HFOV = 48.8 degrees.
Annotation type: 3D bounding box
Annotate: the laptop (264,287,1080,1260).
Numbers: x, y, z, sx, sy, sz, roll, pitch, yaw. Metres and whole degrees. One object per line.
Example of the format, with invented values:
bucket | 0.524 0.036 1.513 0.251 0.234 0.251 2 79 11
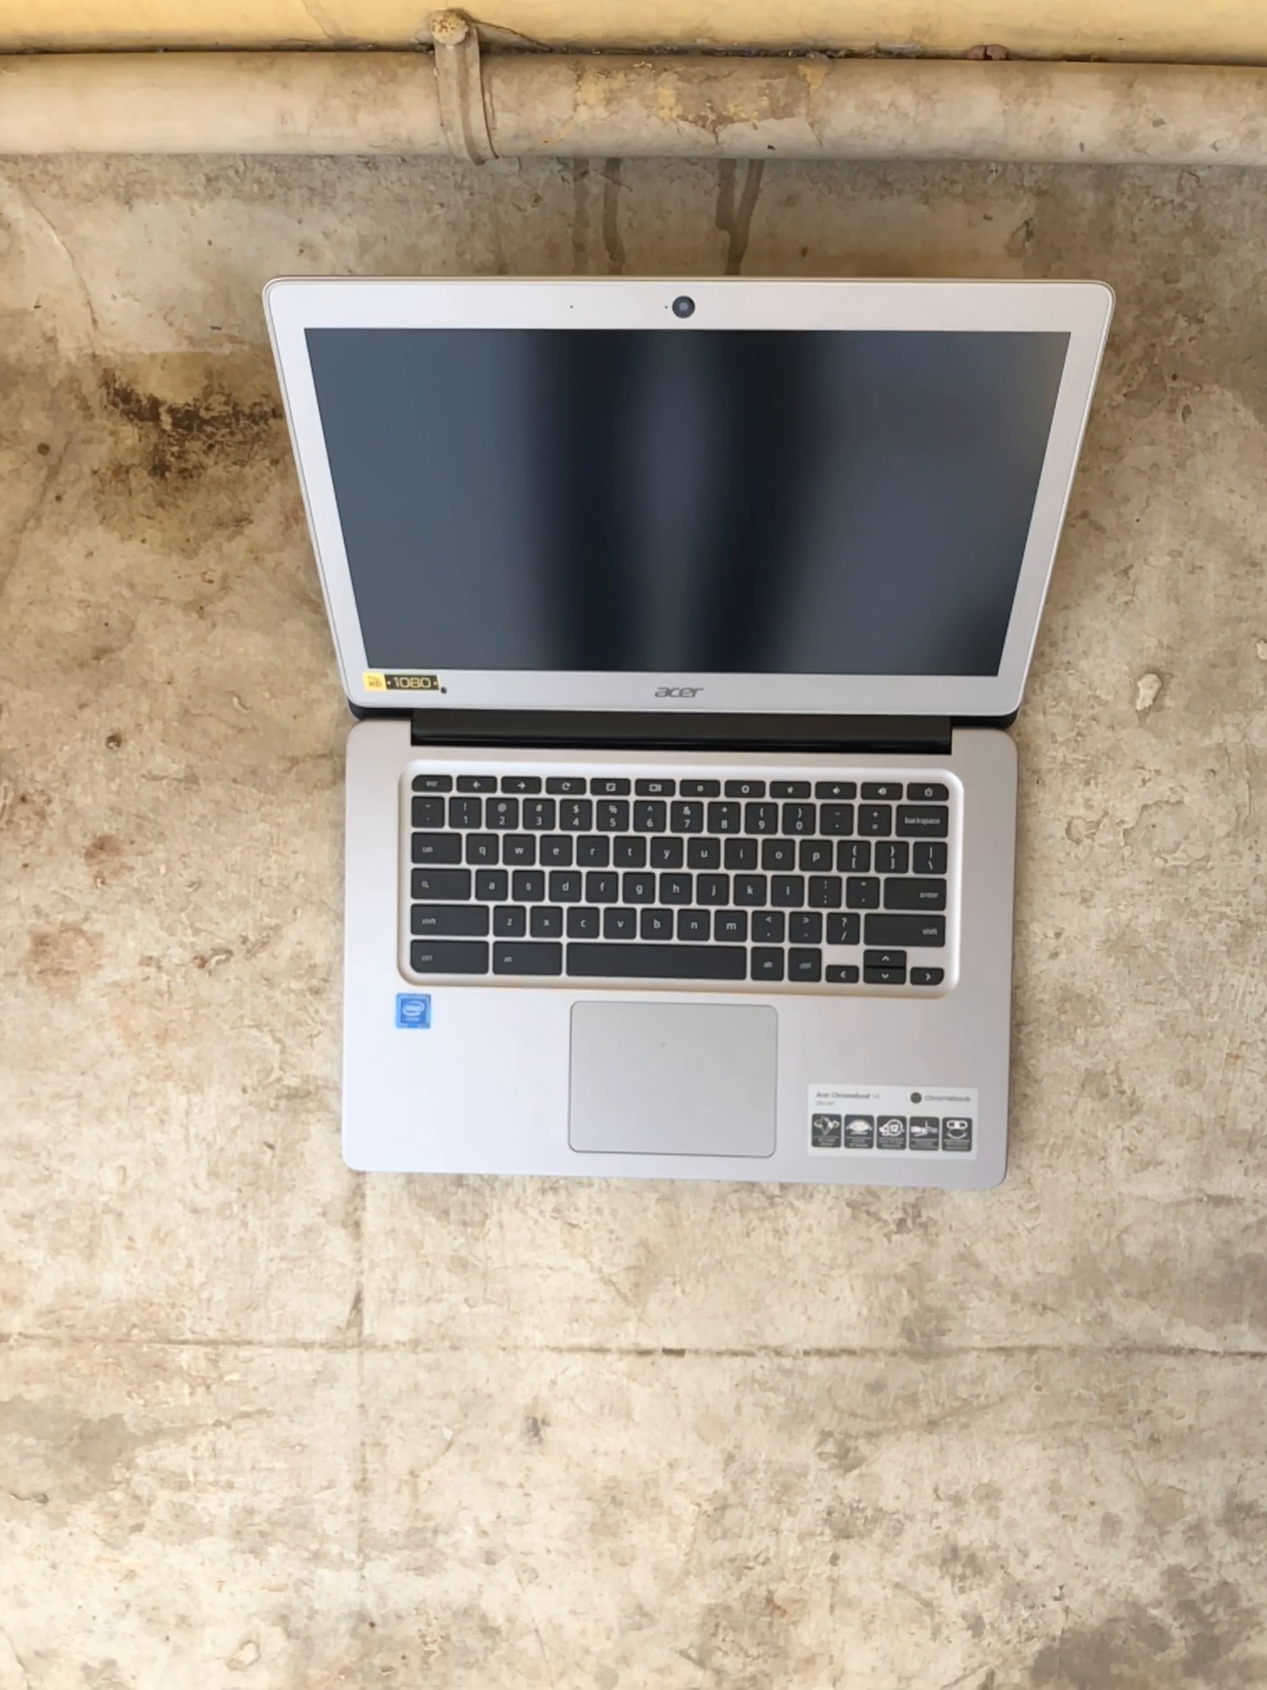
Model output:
laptop | 0.015 -0.028 0.620 0.315 0.137 0.378 0 93 3
